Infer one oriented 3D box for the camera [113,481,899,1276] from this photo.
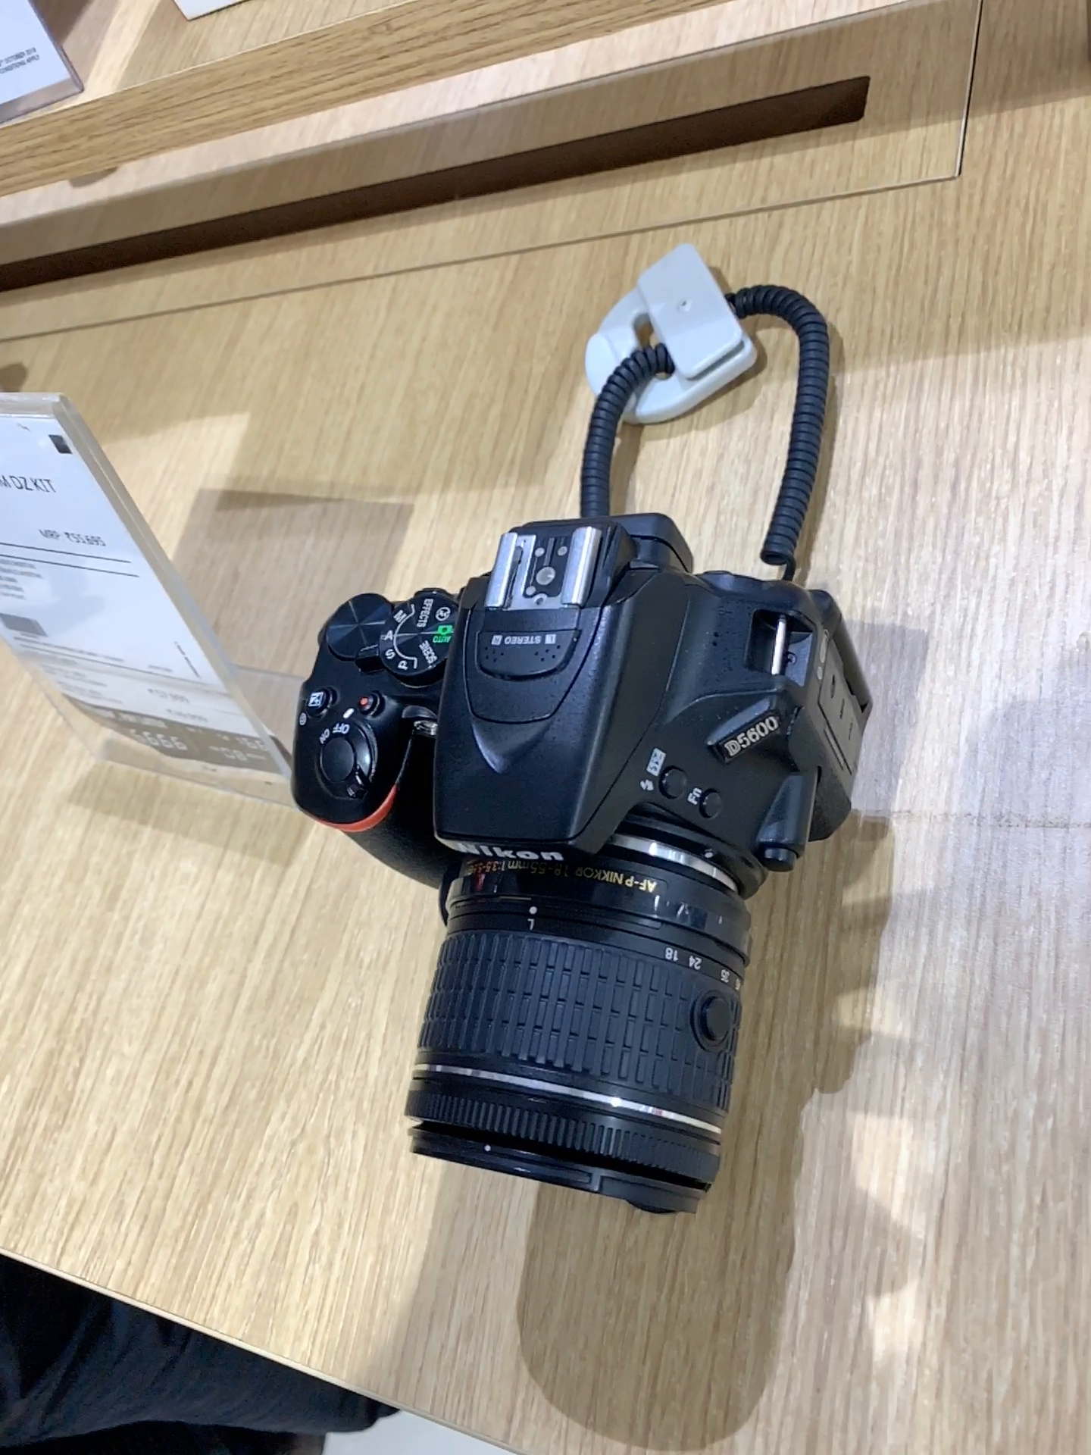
[{"bbox_3d":[0.003,0.030,0.223,0.110,0.080,0.120,0,65,26],"label":"camera"}]
